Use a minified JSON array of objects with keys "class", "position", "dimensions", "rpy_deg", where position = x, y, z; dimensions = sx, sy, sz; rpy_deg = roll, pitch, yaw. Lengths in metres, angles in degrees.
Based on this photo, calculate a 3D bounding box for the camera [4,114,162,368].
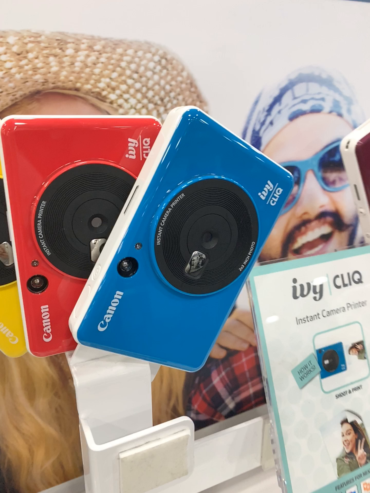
[{"class":"camera","position":[-0.049,-0.004,0.203],"dimensions":[0.067,0.123,0.030],"rpy_deg":[-6,22,-21]}]

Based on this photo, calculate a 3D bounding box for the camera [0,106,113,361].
[{"class":"camera","position":[-0.103,-0.001,0.213],"dimensions":[0.068,0.123,0.030],"rpy_deg":[-32,33,-7]}]

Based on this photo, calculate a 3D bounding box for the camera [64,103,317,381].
[{"class":"camera","position":[0.004,0.002,0.192],"dimensions":[0.077,0.114,0.030],"rpy_deg":[25,4,-33]}]
